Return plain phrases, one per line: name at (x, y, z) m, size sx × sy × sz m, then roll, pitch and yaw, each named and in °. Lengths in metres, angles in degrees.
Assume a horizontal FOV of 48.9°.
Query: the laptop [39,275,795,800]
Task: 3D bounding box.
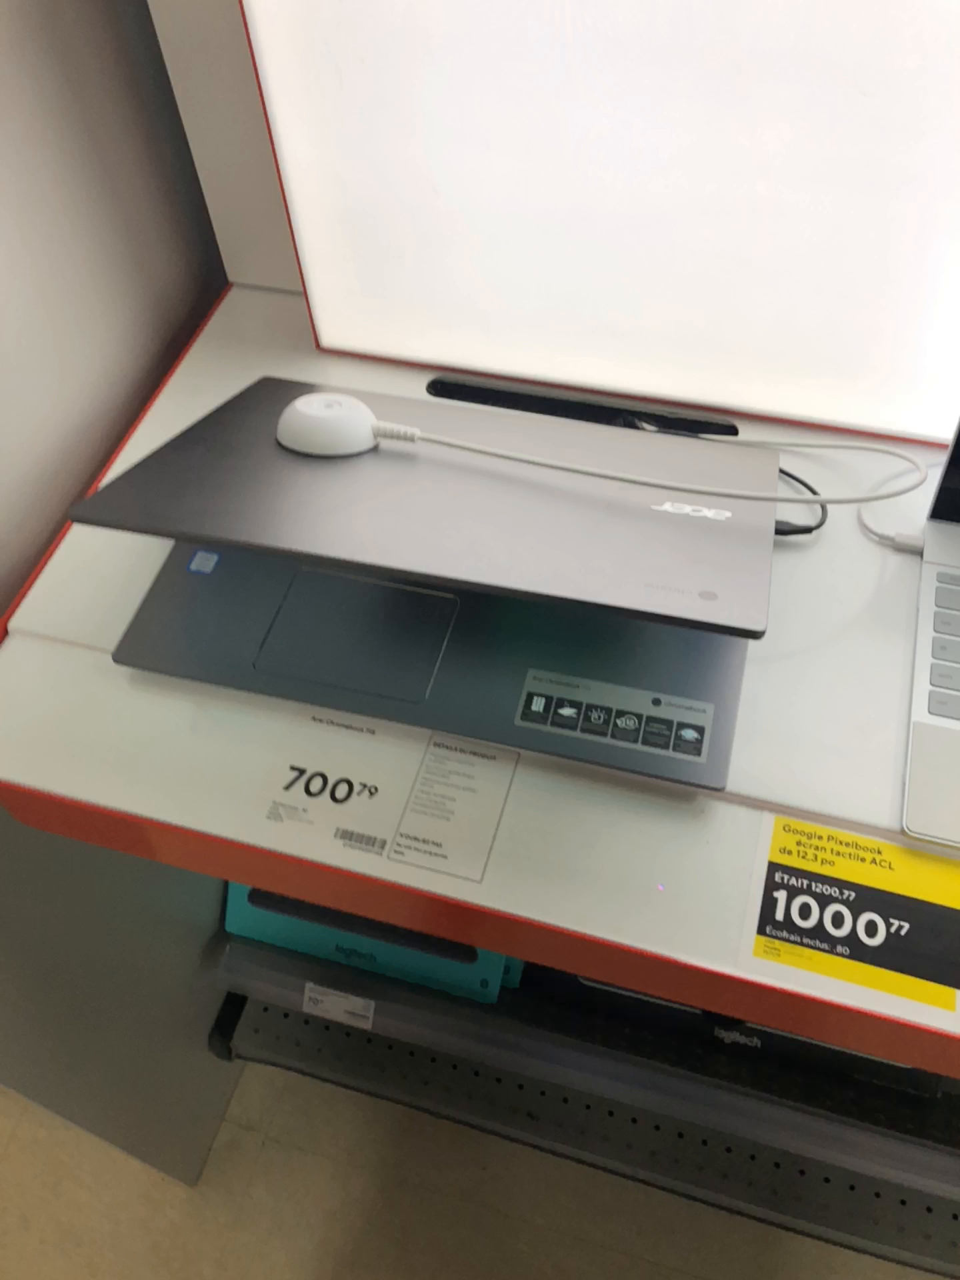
laptop at (-0.020, -0.074, 0.613) m, size 0.356 × 0.105 × 0.237 m, roll 11°, pitch 55°, yaw 11°
